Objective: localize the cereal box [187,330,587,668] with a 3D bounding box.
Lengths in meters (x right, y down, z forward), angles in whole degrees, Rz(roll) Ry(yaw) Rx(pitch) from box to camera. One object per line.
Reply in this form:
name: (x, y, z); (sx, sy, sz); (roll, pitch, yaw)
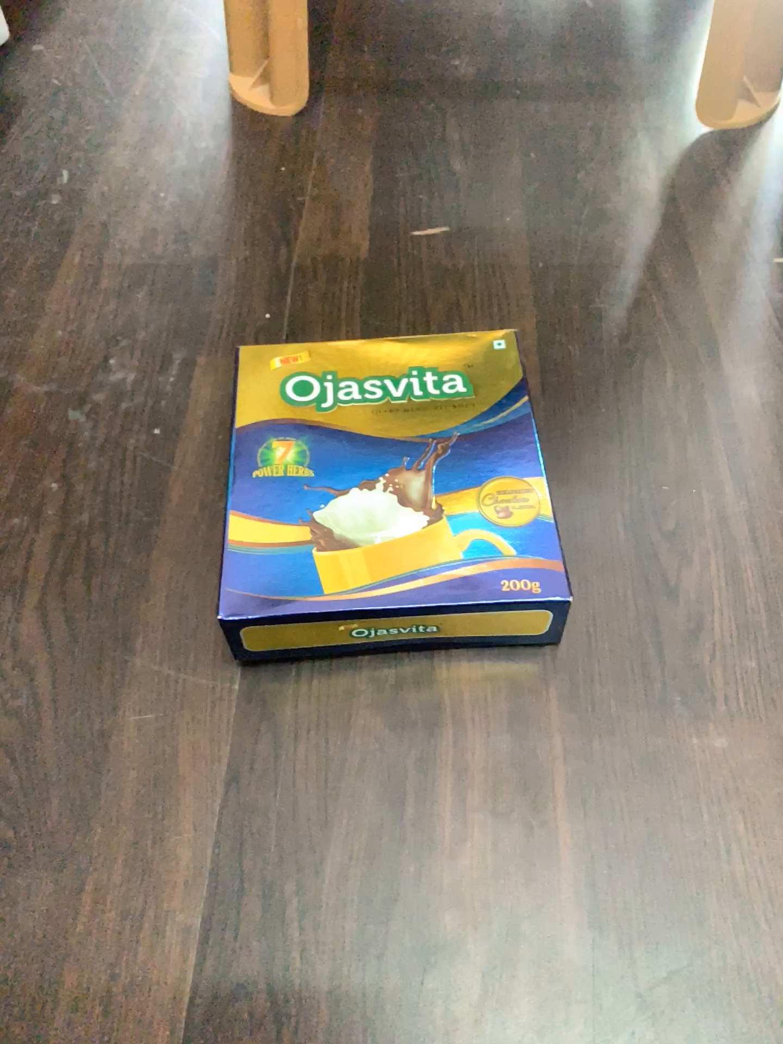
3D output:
cereal box: (-0.007, -0.017, 0.363); (0.150, 0.040, 0.150); (-3, 54, -3)
